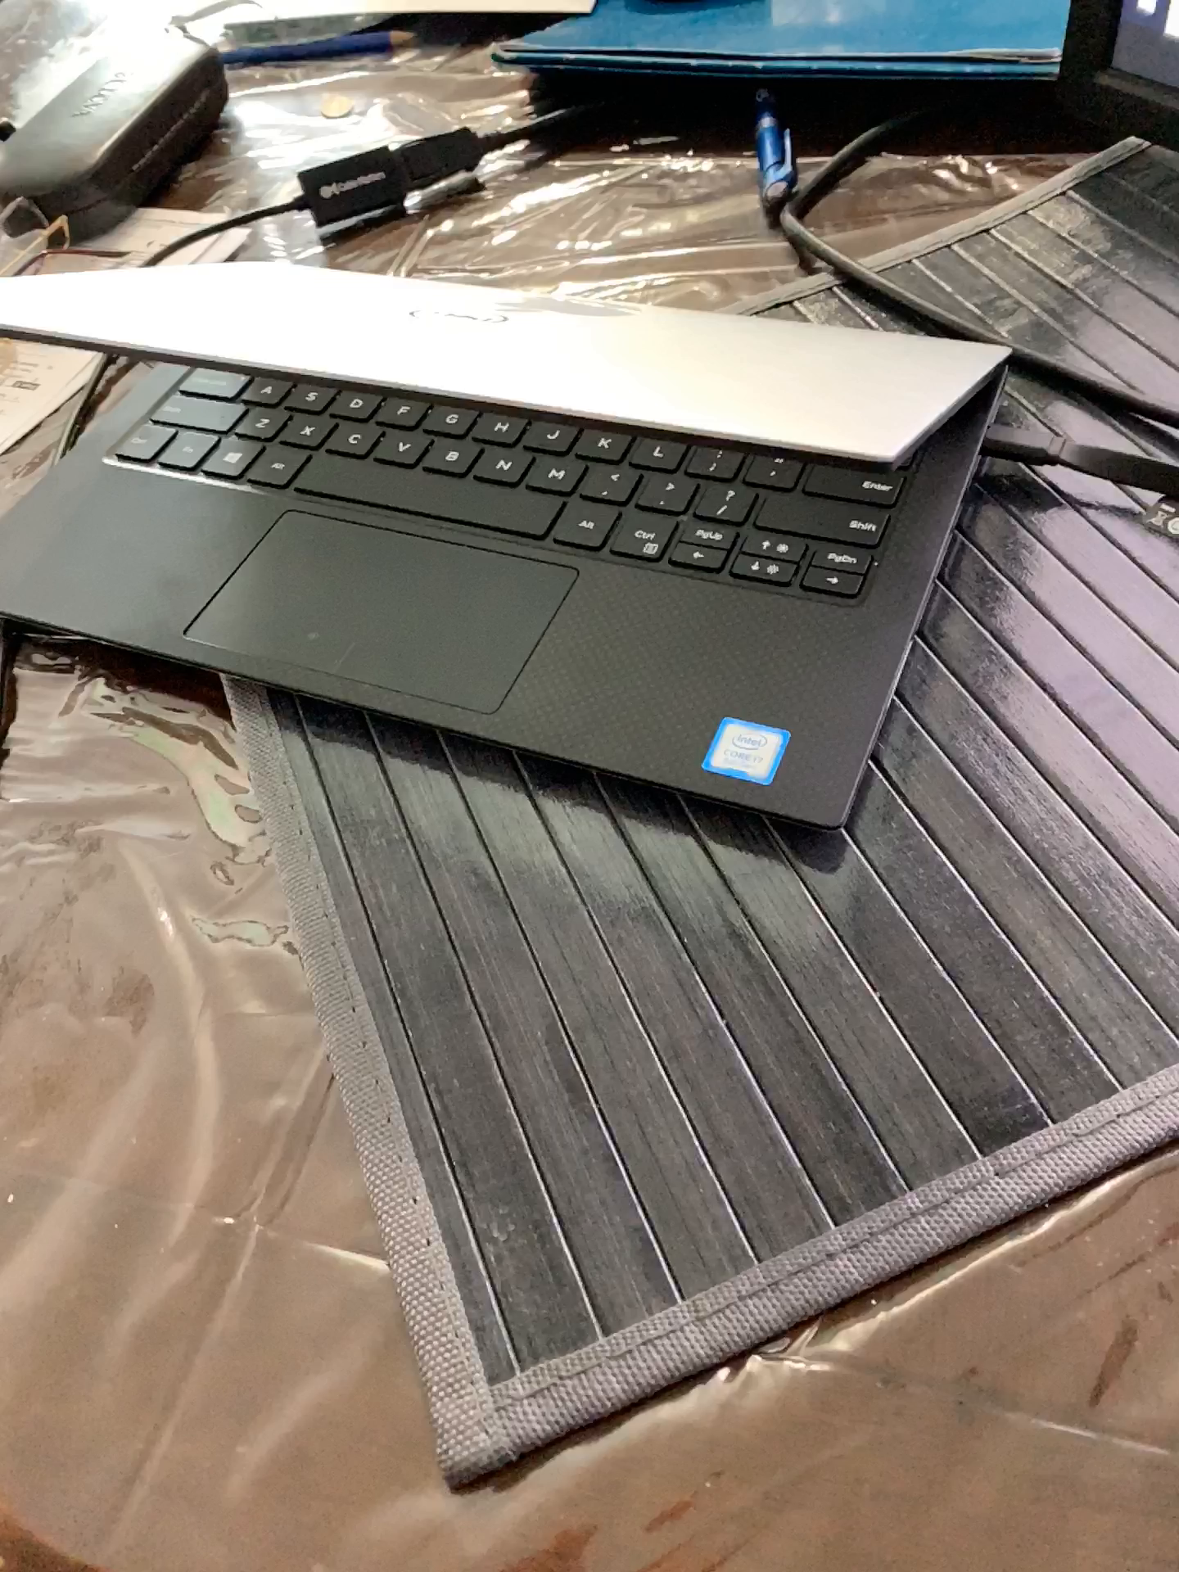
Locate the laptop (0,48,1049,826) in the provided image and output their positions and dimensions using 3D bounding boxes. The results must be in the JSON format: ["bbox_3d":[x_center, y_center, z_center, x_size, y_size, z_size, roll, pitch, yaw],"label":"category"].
[{"bbox_3d":[-0.043,-0.120,0.347,0.290,0.081,0.183,14,56,19],"label":"laptop"}]
